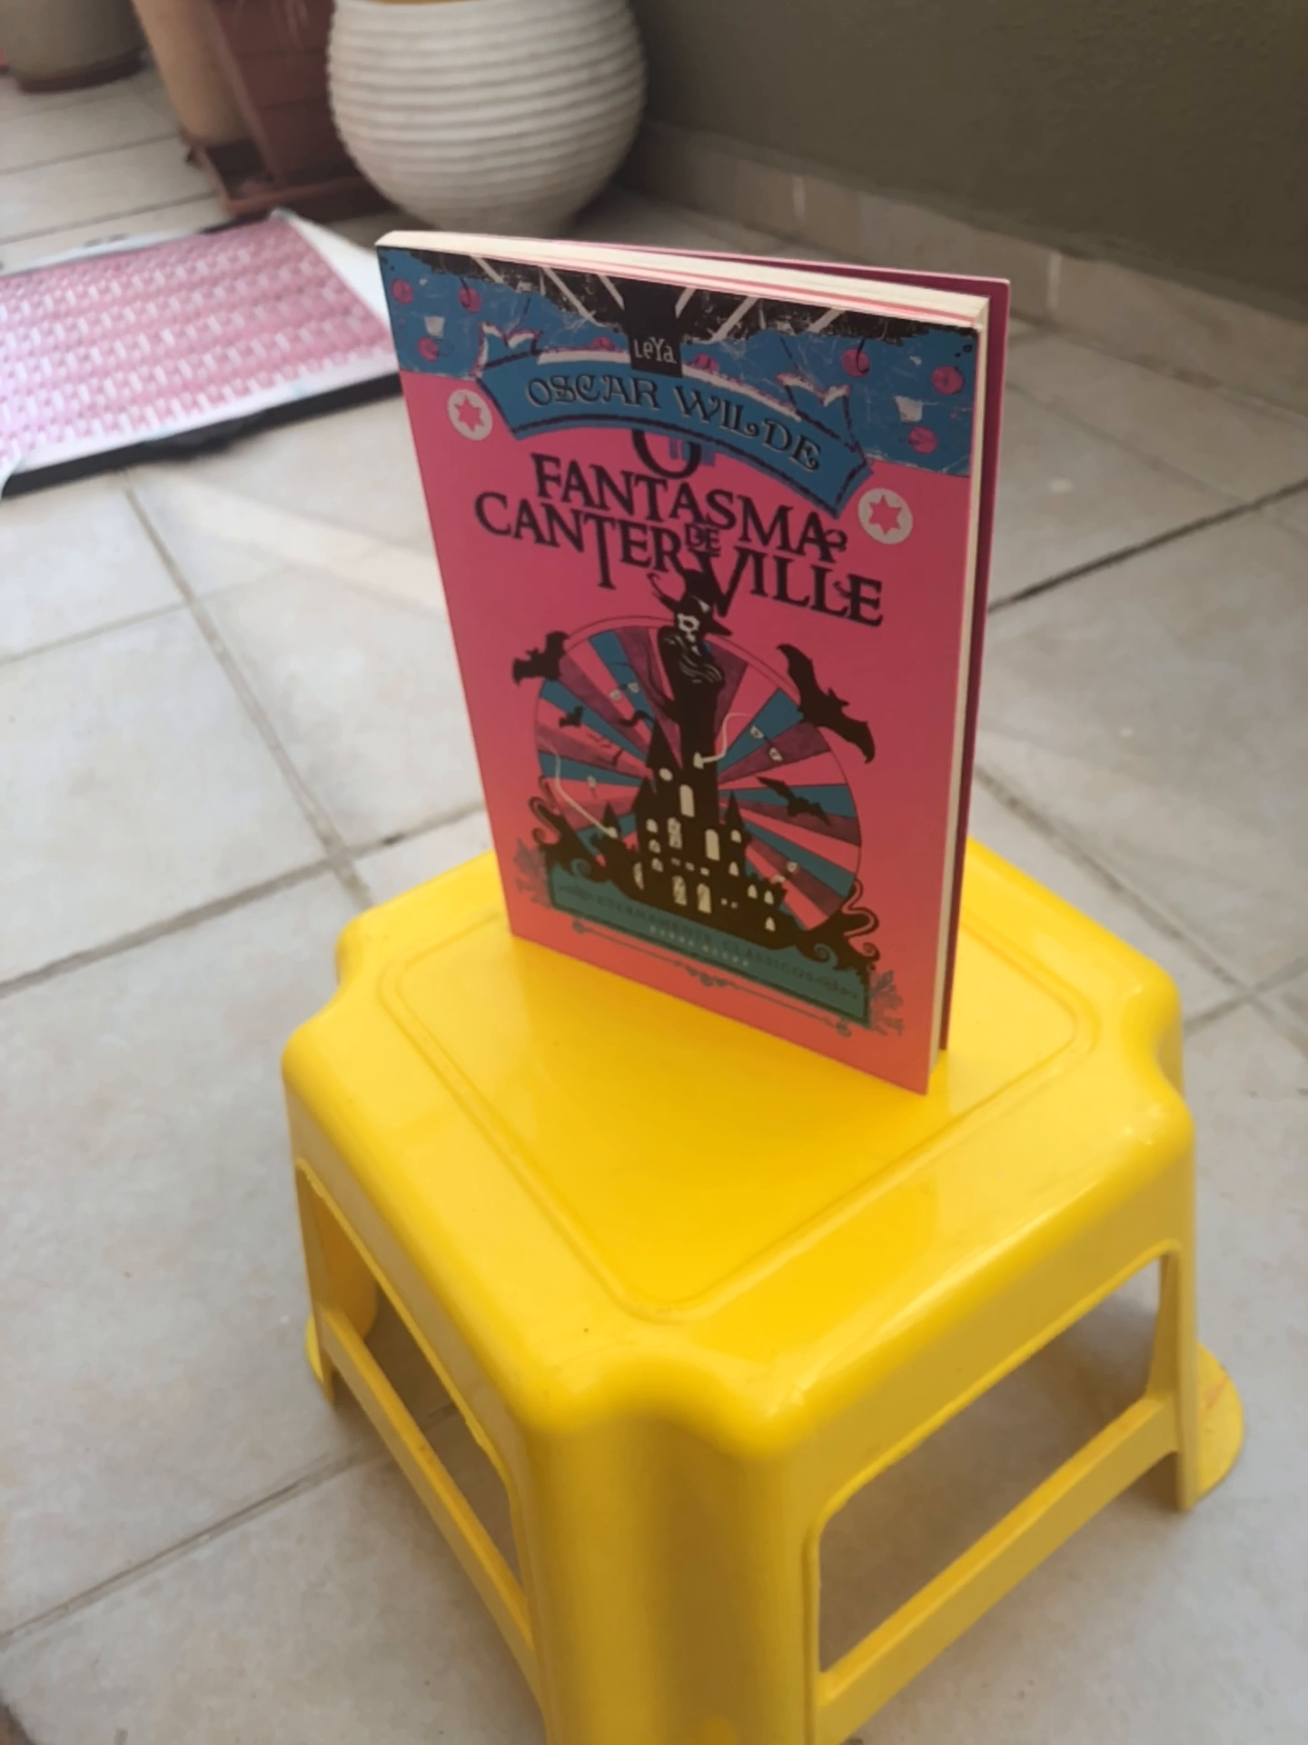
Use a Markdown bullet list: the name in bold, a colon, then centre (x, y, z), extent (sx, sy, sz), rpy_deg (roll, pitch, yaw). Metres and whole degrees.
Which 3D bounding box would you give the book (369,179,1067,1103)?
- **book**: centre (0.017, -0.048, 0.362), extent (0.150, 0.218, 0.020), rpy_deg (19, 47, 28)
